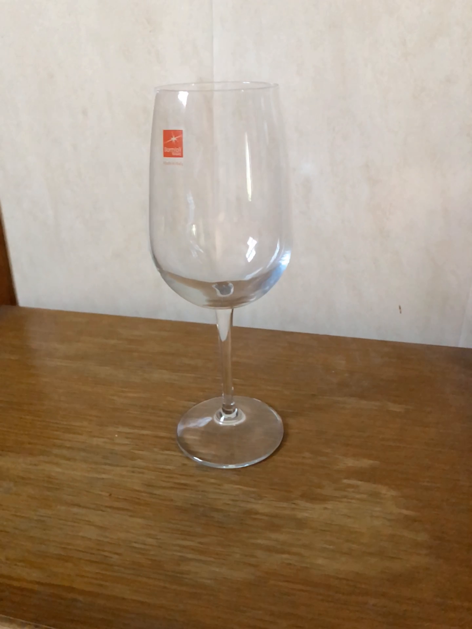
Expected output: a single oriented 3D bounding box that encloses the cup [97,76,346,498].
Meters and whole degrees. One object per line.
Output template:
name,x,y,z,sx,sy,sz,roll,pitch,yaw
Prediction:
cup,-0.004,-0.022,0.328,0.090,0.229,0.101,17,31,32
